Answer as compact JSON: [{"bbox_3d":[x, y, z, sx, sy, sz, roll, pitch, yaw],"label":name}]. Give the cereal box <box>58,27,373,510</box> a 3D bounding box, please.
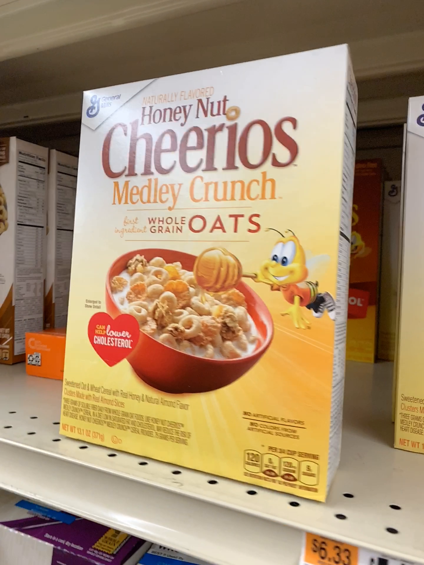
[{"bbox_3d":[-0.001,-0.012,0.293,0.190,0.250,0.060,2,-3,26],"label":"cereal box"}]
